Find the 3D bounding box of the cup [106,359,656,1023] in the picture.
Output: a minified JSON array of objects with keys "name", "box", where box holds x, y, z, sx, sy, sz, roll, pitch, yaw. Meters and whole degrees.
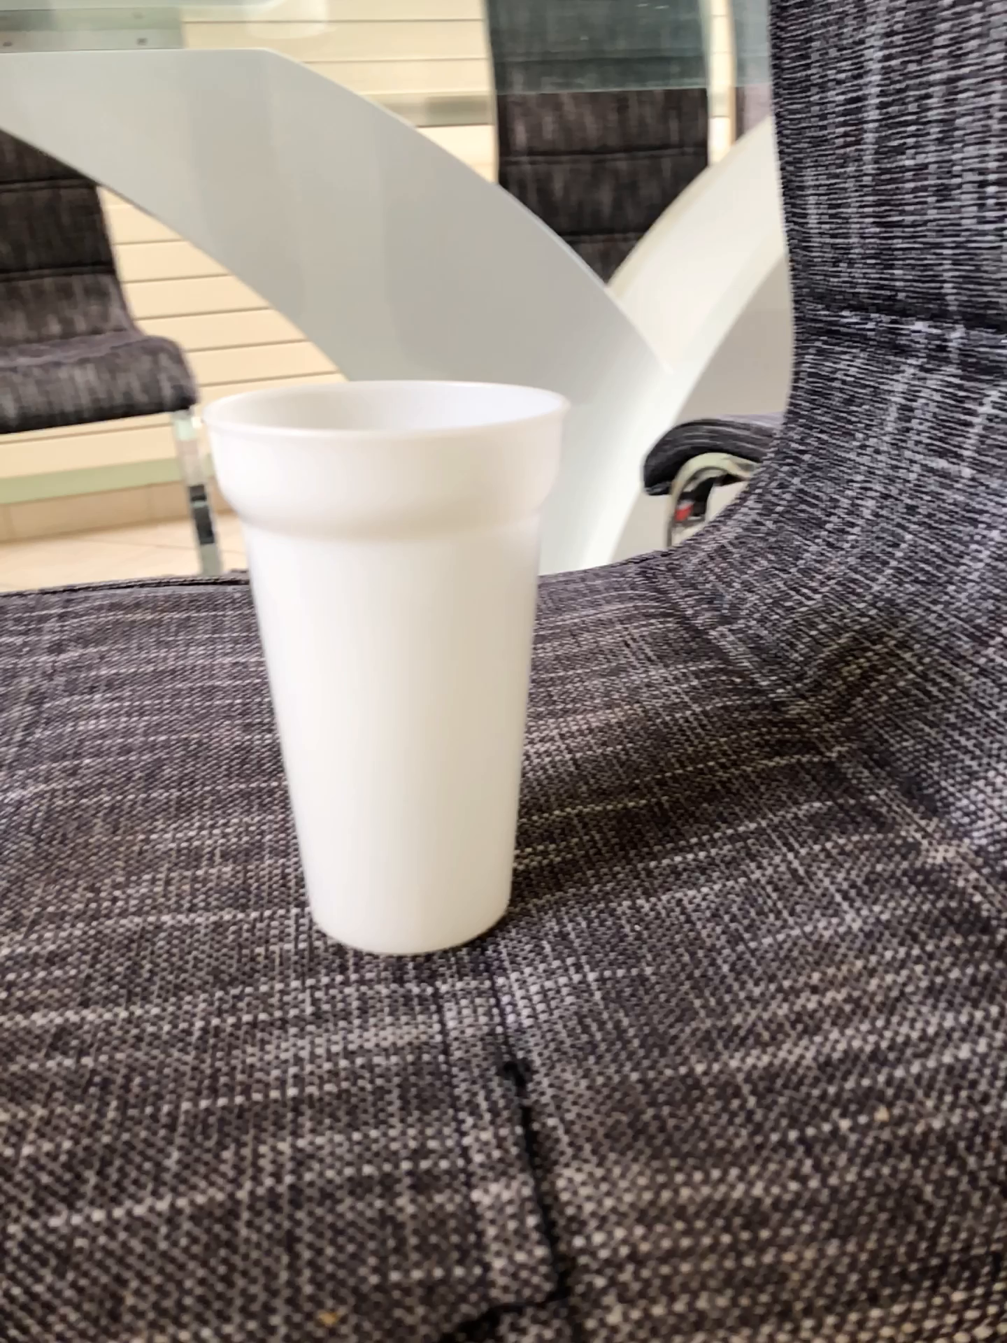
[{"name":"cup","box":[-0.023,-0.005,0.244,0.080,0.109,0.080,-3,22,1]}]
